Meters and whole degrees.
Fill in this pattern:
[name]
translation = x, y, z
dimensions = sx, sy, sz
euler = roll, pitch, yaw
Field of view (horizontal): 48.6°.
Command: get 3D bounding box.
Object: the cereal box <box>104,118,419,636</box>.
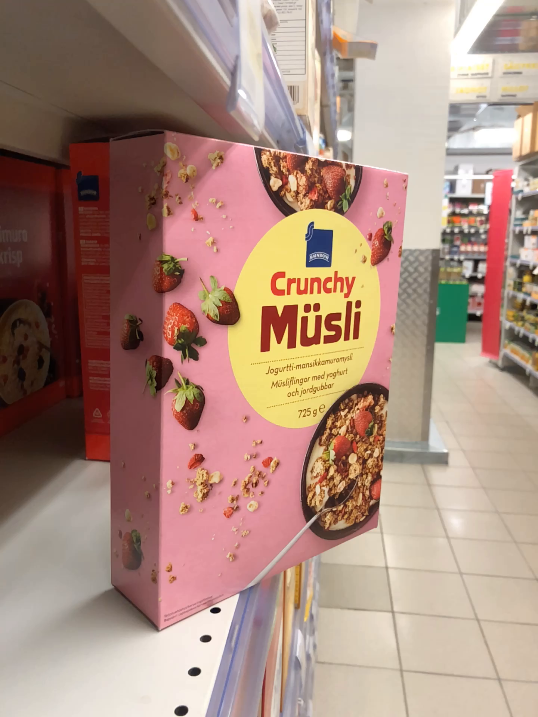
[cereal box]
translation = 0.001, 0.004, 0.379
dimensions = 0.200, 0.259, 0.060
euler = -7, 15, -43
